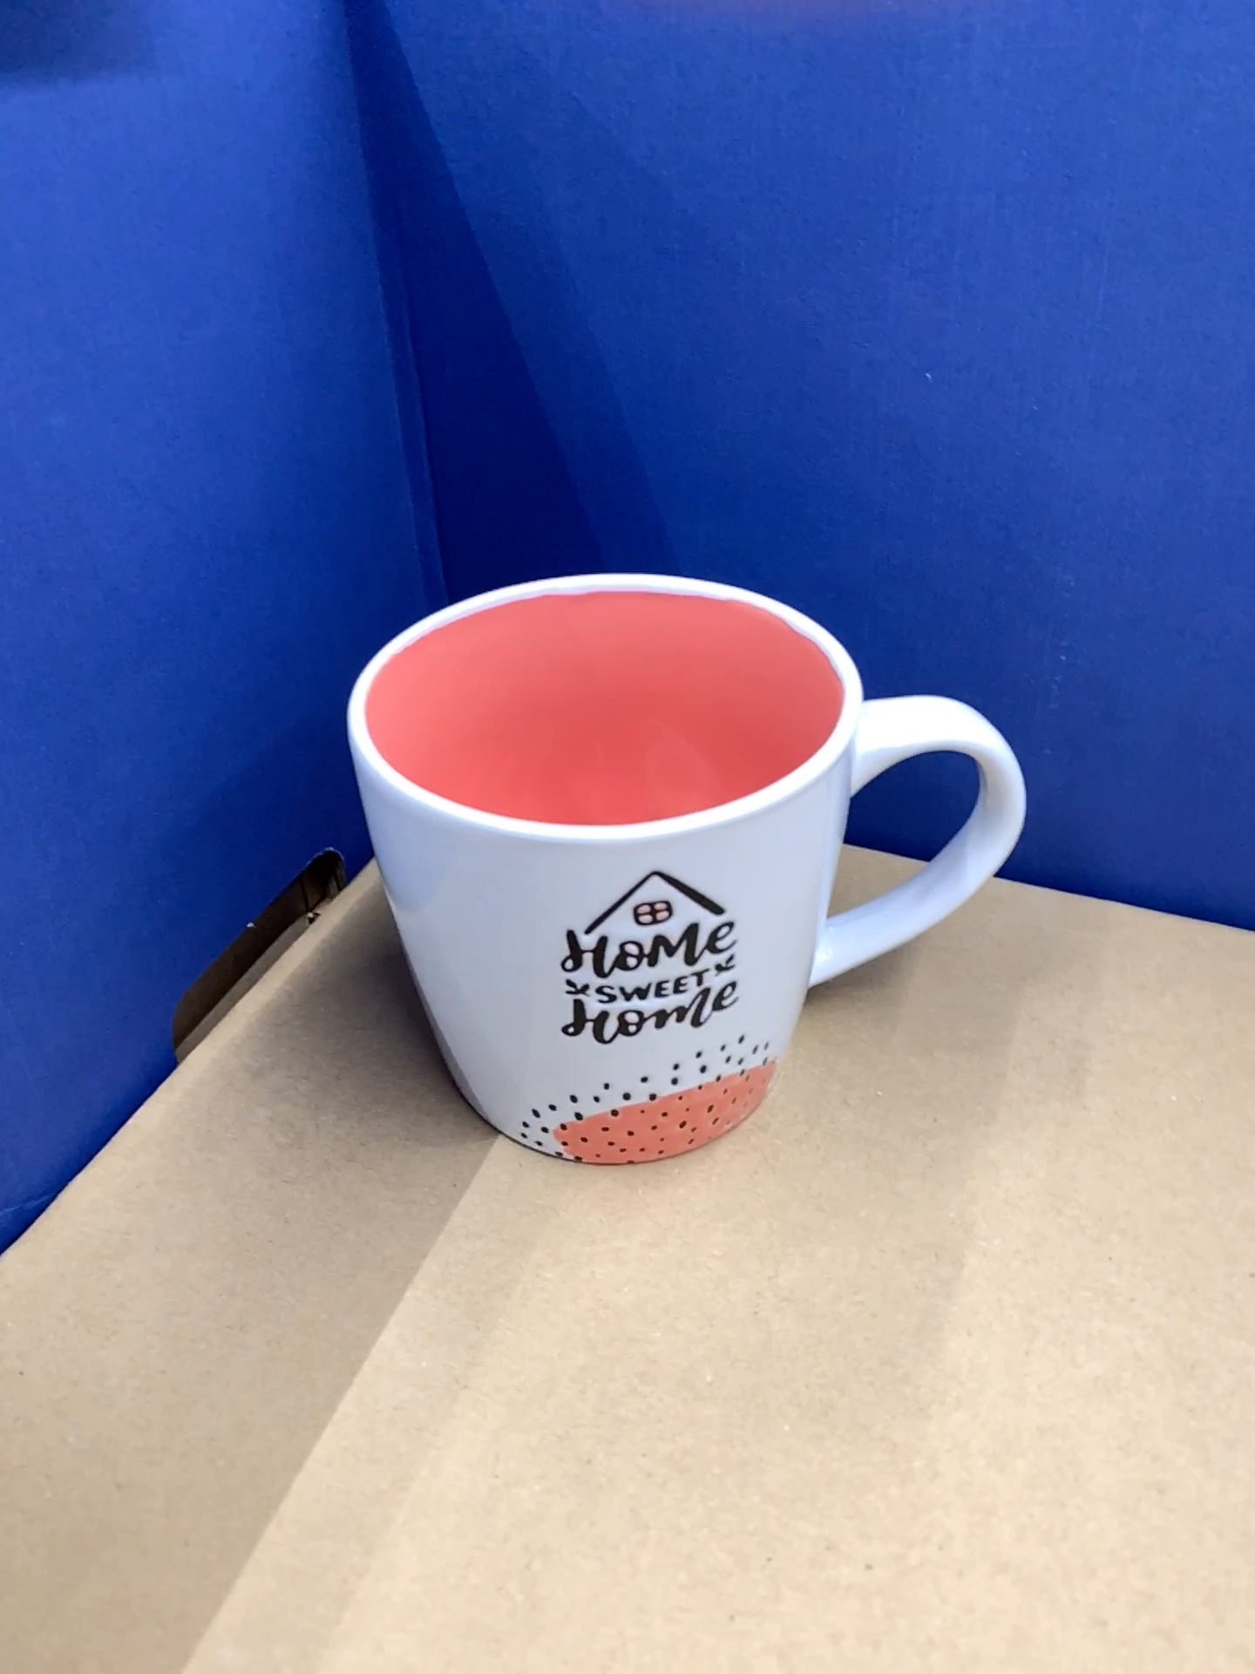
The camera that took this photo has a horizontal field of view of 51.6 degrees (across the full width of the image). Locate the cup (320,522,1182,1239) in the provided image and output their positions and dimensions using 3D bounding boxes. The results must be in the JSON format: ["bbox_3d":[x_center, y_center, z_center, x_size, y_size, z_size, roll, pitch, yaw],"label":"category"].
[{"bbox_3d":[0.014,0.001,0.226,0.115,0.070,0.083,-10,35,-11],"label":"cup"}]
